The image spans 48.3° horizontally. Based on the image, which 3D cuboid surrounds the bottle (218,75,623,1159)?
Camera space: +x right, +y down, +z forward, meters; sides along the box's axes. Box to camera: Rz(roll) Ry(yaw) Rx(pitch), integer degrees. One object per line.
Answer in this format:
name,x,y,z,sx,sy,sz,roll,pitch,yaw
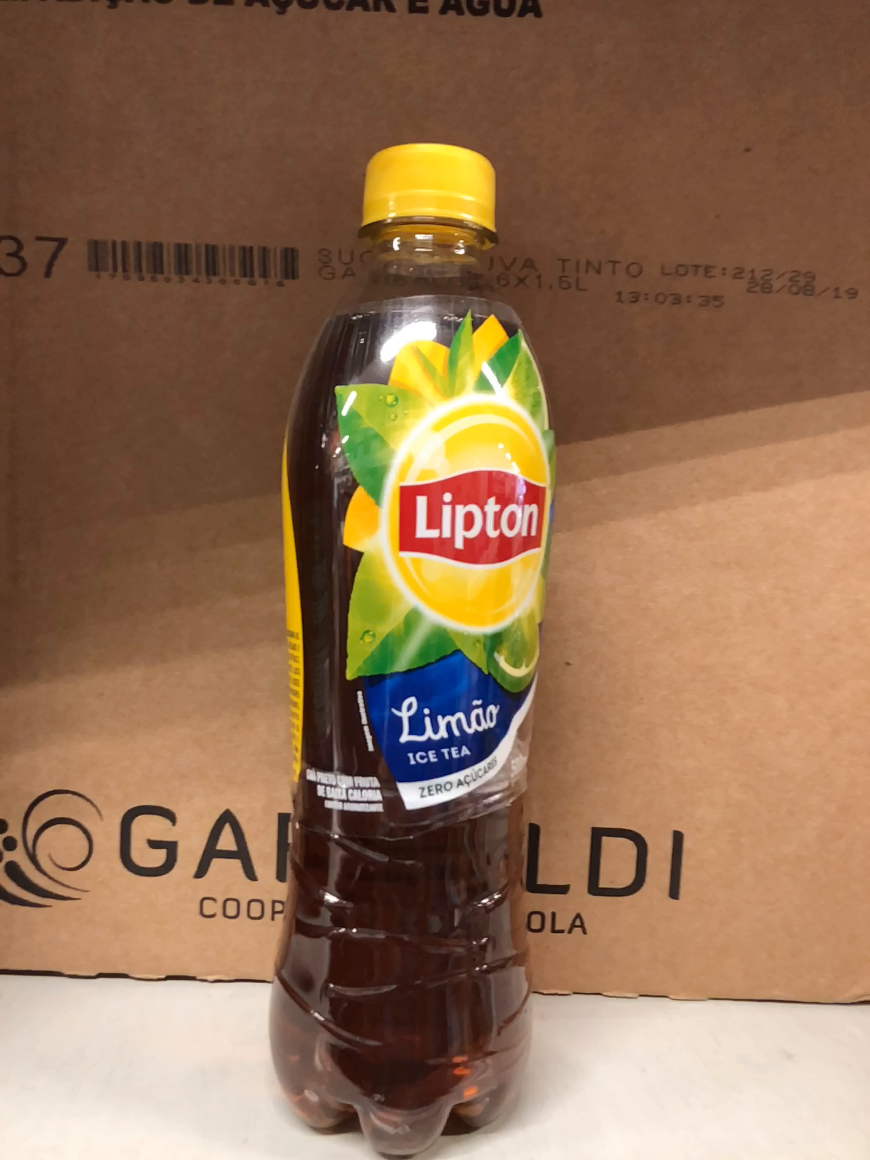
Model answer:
bottle,-0.009,0.014,0.228,0.070,0.219,0.060,-1,7,-25
